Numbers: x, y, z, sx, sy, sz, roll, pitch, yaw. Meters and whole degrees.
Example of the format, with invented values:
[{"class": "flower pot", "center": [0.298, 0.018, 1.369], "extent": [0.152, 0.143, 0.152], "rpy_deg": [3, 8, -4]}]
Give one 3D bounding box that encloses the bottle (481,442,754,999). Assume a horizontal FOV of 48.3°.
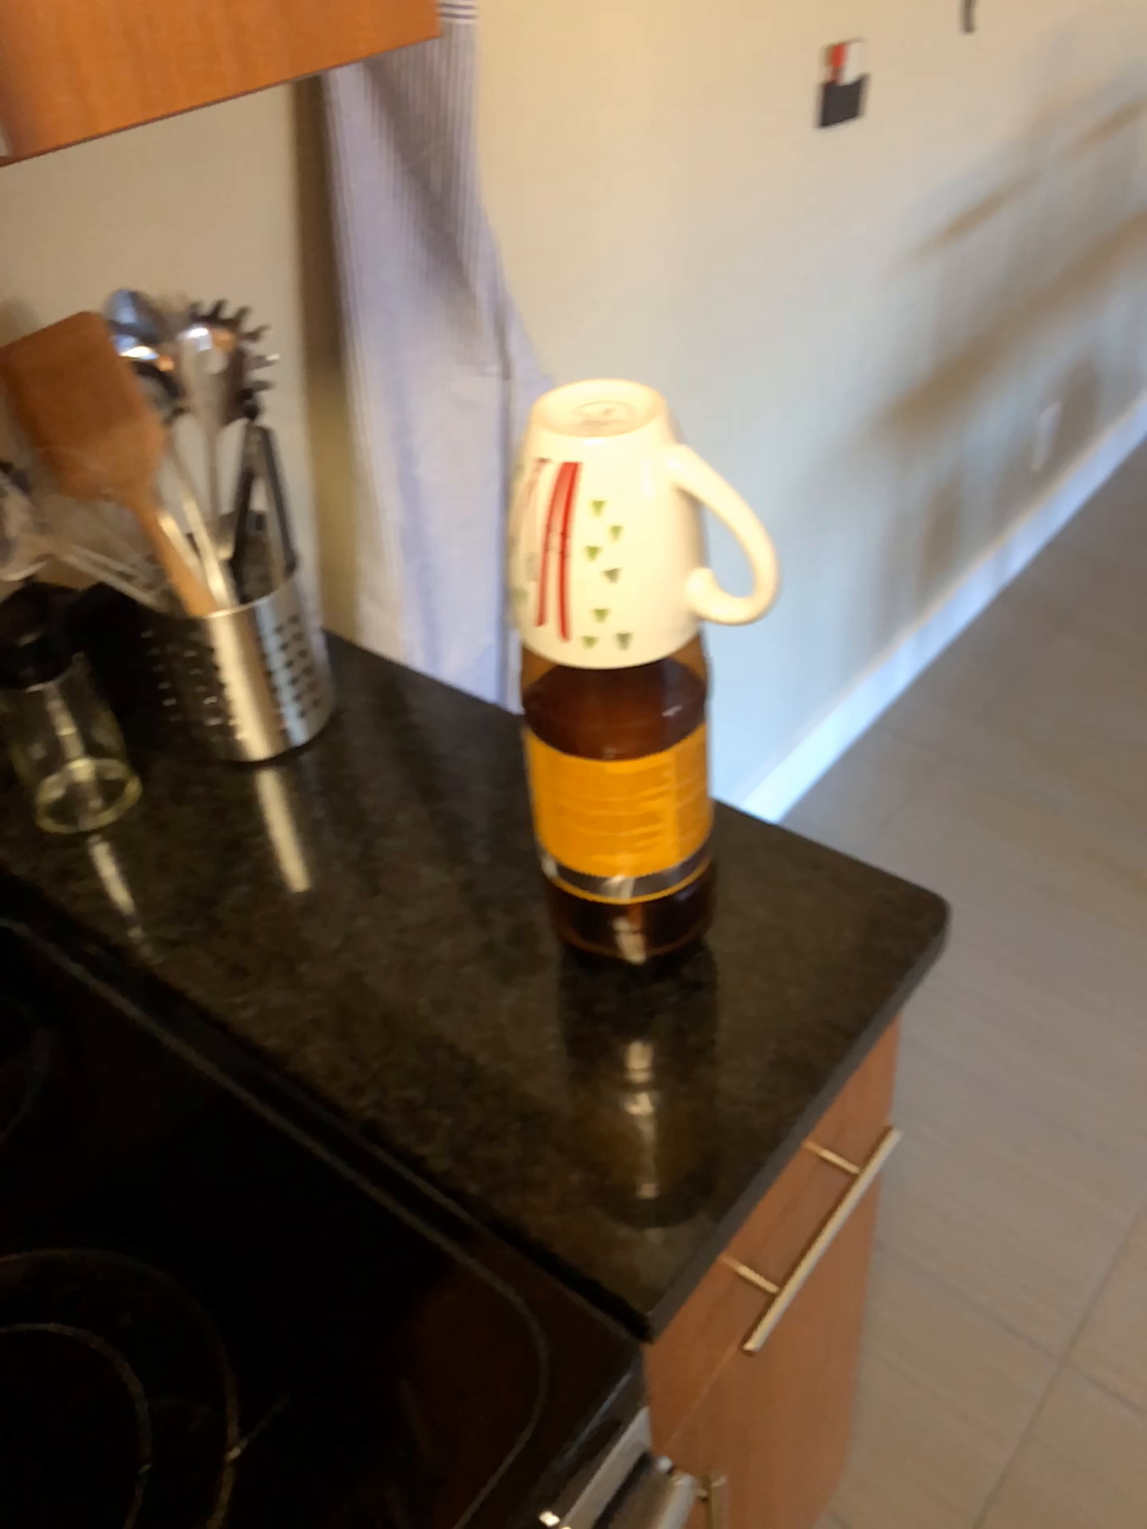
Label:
[{"class": "bottle", "center": [0.029, -0.016, 0.699], "extent": [0.100, 0.279, 0.100], "rpy_deg": [-3, 39, 3]}]
